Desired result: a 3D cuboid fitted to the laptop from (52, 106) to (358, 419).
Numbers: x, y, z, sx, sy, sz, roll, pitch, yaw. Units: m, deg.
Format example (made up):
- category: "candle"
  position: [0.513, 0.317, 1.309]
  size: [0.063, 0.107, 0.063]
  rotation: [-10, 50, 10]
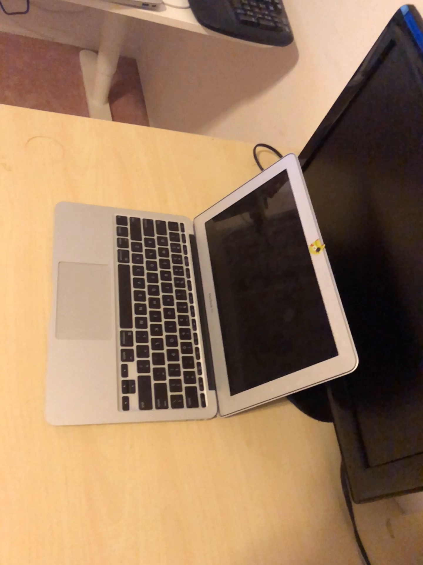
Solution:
- category: "laptop"
  position: [-0.031, -0.013, 0.542]
  size: [0.274, 0.161, 0.291]
  rotation: [4, 58, -22]
